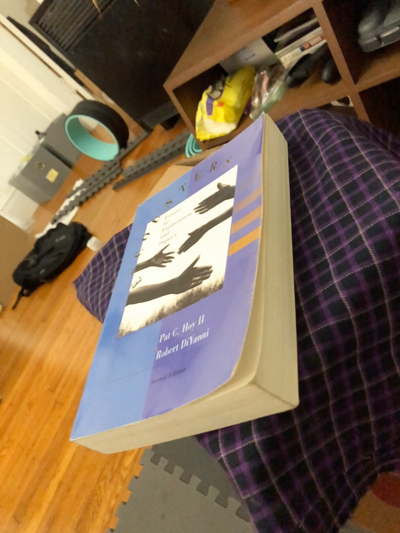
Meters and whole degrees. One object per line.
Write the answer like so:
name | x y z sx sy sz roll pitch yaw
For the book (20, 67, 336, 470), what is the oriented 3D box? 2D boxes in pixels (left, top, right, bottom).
book | -0.013 -0.007 0.321 0.200 0.040 0.261 -27 38 35
